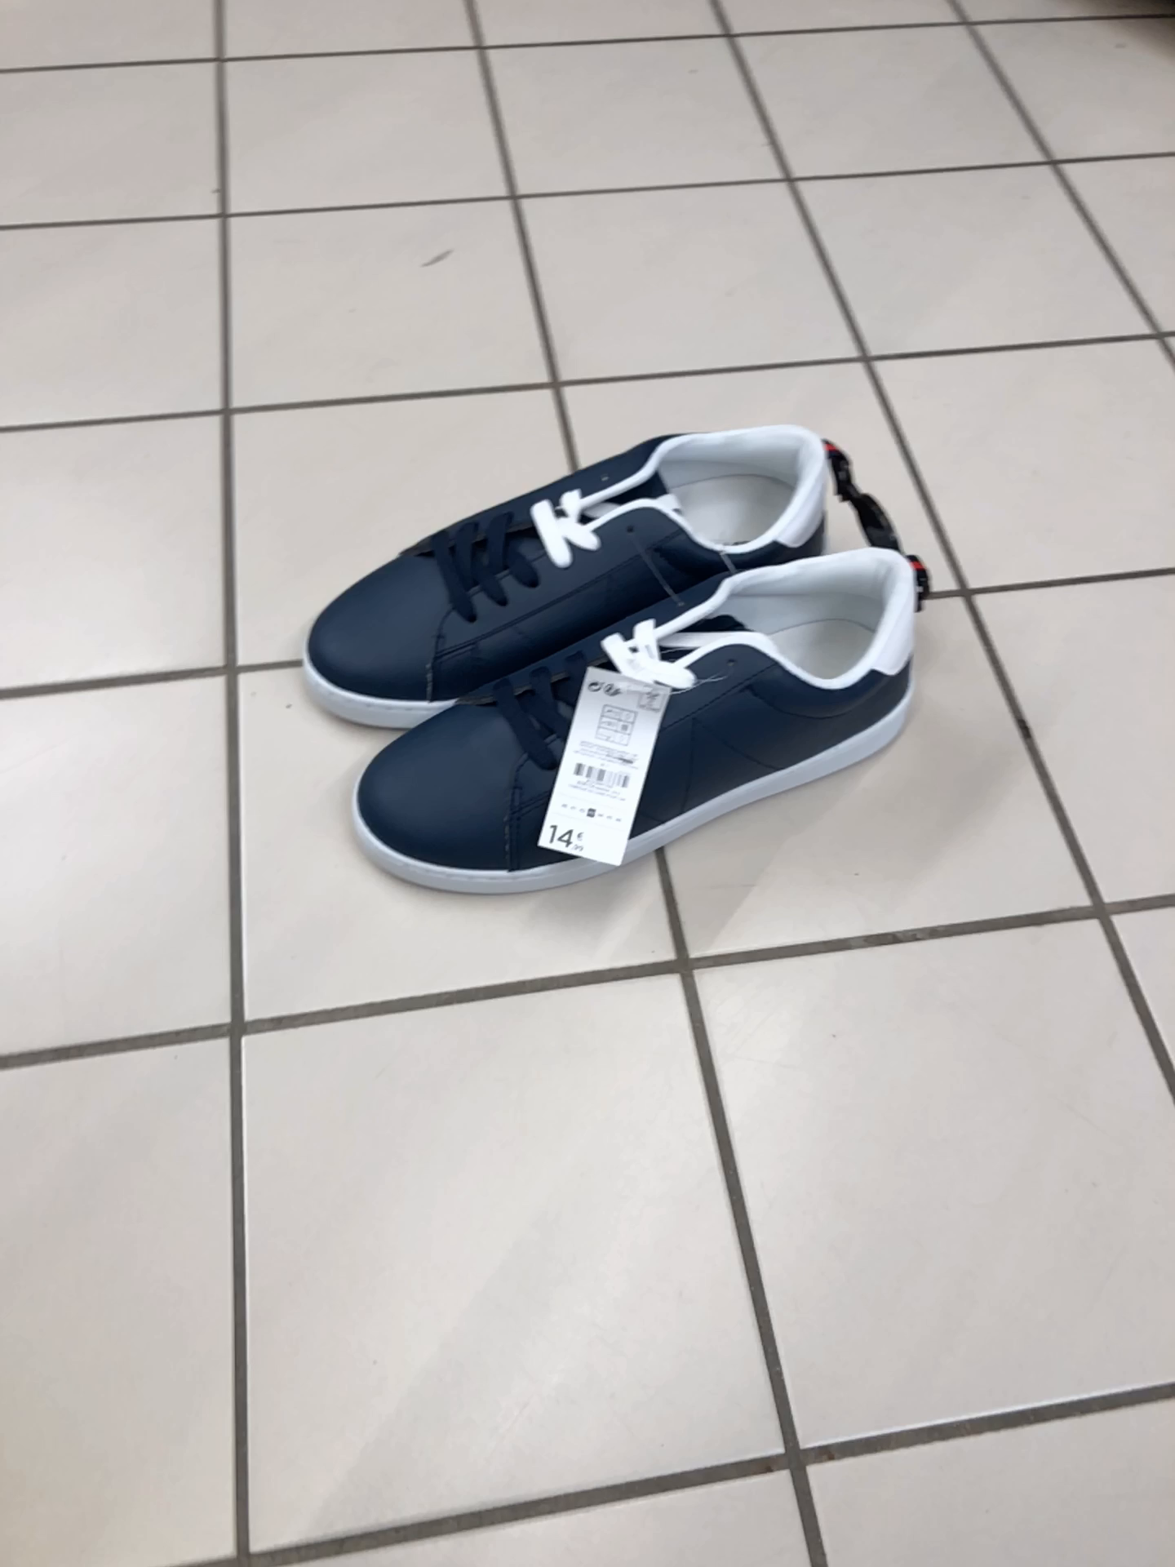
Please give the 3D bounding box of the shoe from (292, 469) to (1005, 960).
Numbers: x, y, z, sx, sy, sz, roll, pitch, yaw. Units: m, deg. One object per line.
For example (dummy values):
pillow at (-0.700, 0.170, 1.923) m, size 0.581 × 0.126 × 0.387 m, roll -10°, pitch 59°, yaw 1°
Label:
shoe at (0.028, -0.036, 0.591) m, size 0.291 × 0.100 × 0.100 m, roll -20°, pitch 59°, yaw -15°

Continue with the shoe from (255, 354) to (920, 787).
shoe at (0.001, -0.108, 0.636) m, size 0.291 × 0.100 × 0.100 m, roll -18°, pitch 59°, yaw -14°
